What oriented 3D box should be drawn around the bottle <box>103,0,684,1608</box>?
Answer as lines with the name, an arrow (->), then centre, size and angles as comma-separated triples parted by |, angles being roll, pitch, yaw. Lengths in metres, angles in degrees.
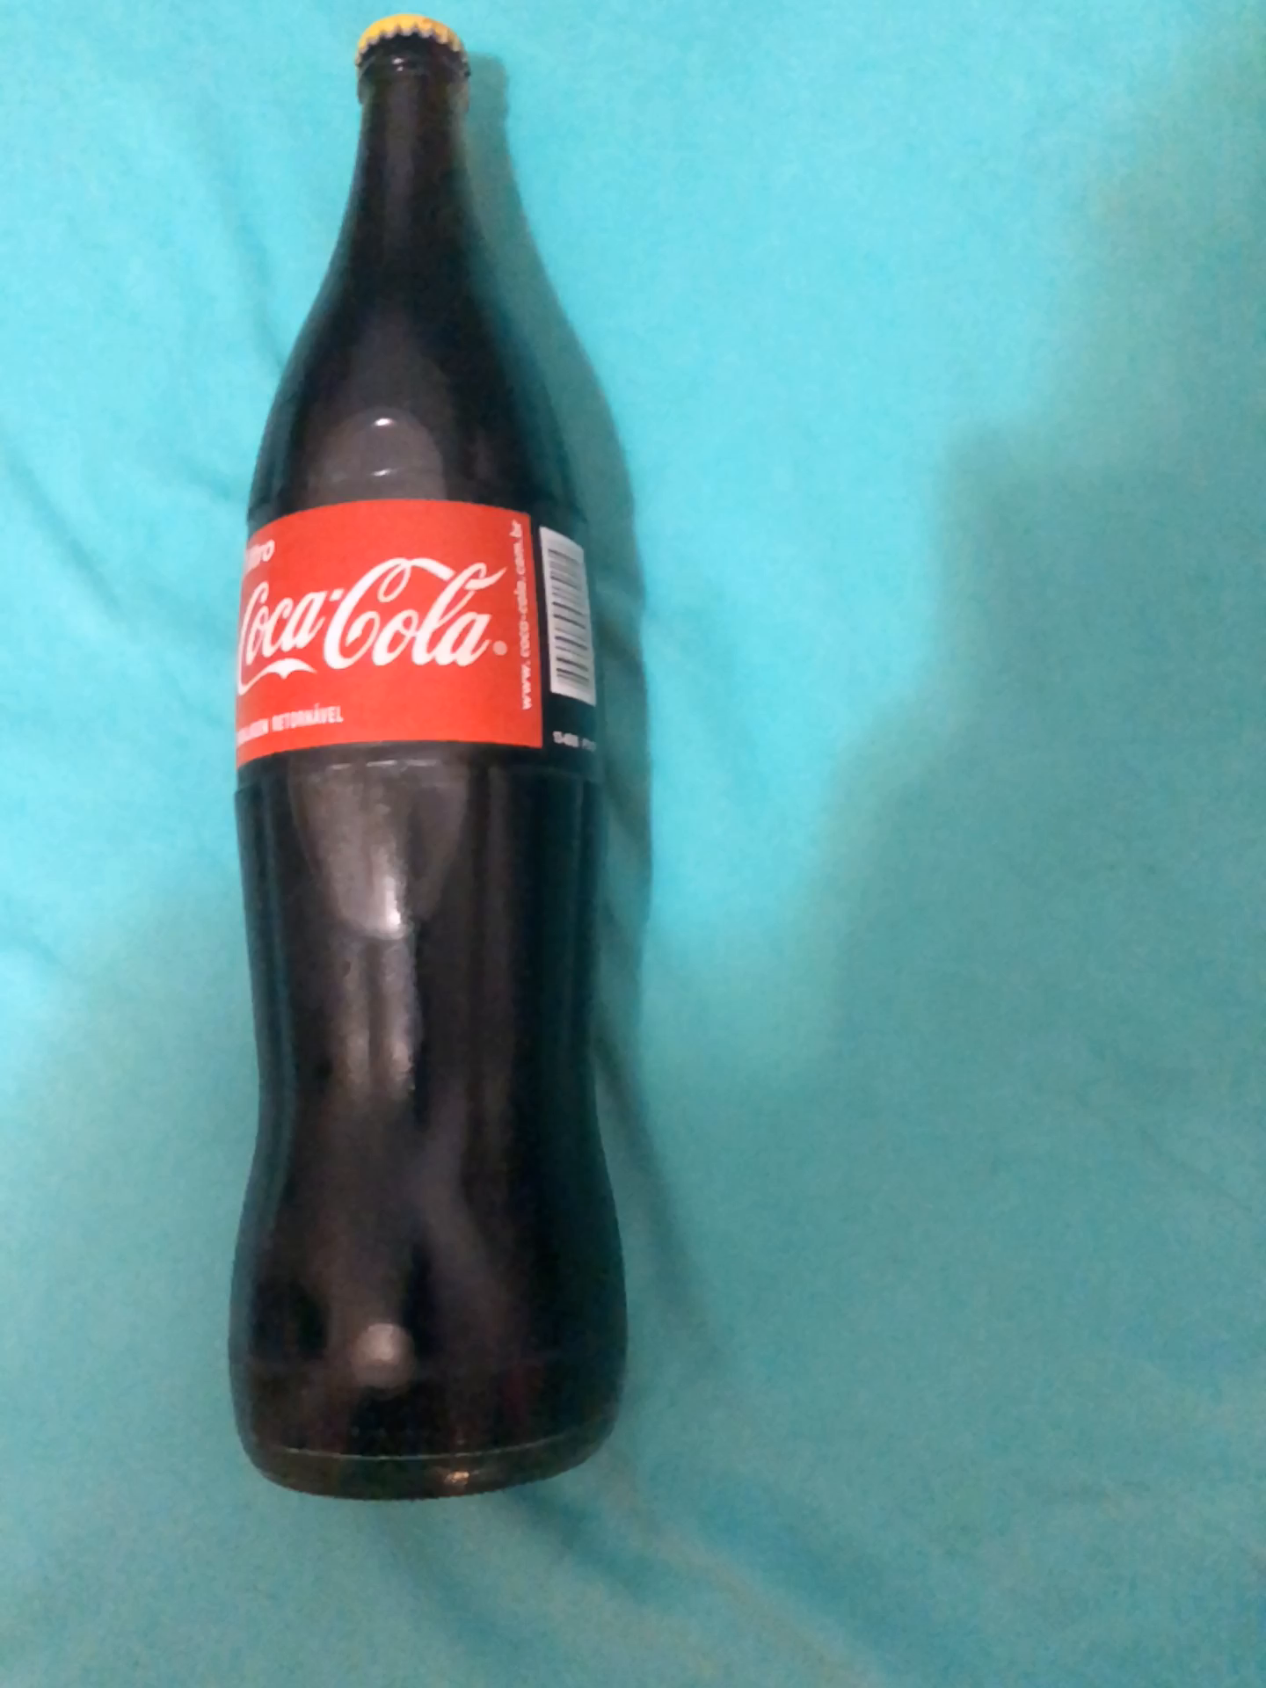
bottle -> -0.048, -0.038, 0.311 | 0.100, 0.070, 0.360 | -3, 81, 6
